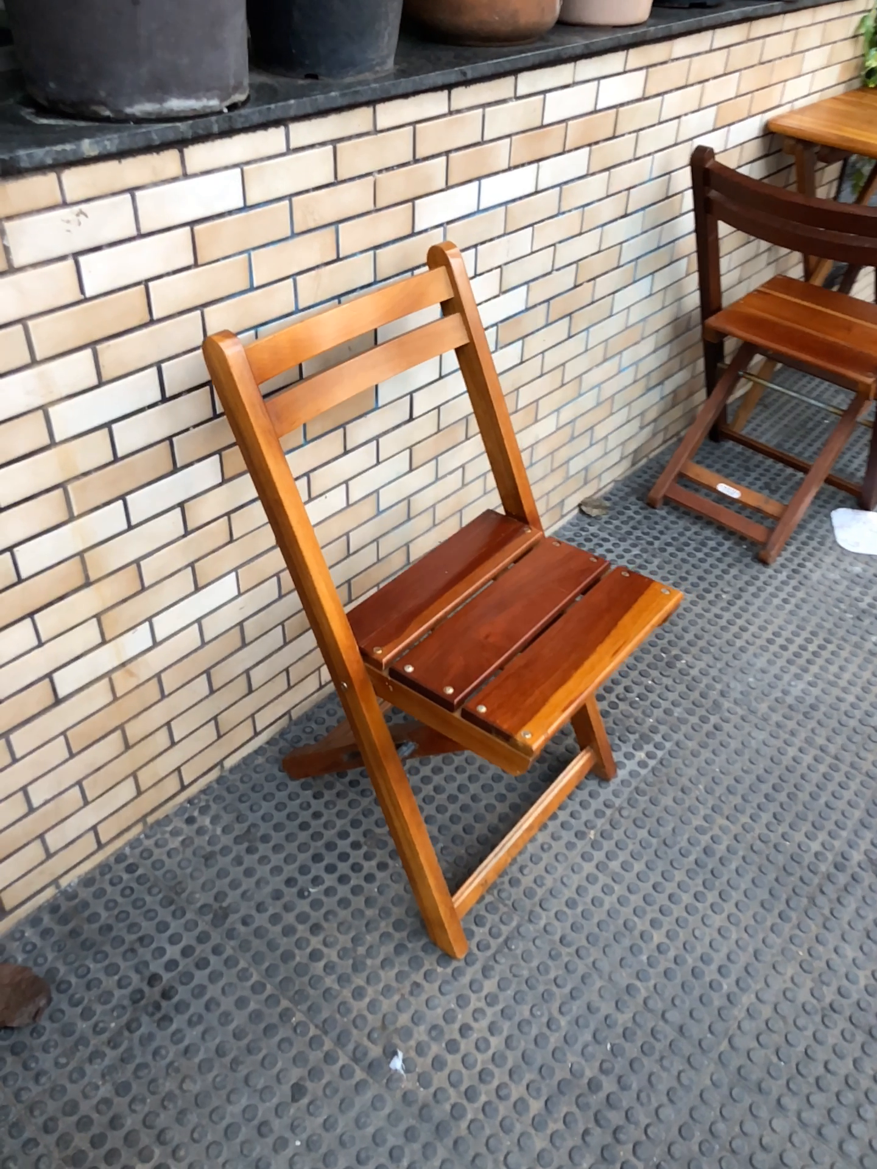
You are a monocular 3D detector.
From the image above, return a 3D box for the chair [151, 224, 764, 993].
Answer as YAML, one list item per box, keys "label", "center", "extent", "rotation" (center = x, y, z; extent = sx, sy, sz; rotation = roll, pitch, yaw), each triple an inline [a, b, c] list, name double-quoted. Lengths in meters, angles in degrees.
- label: "chair"
  center: [0.017, 0.015, 1.274]
  extent: [0.491, 0.764, 0.473]
  rotation: [26, 42, 27]
